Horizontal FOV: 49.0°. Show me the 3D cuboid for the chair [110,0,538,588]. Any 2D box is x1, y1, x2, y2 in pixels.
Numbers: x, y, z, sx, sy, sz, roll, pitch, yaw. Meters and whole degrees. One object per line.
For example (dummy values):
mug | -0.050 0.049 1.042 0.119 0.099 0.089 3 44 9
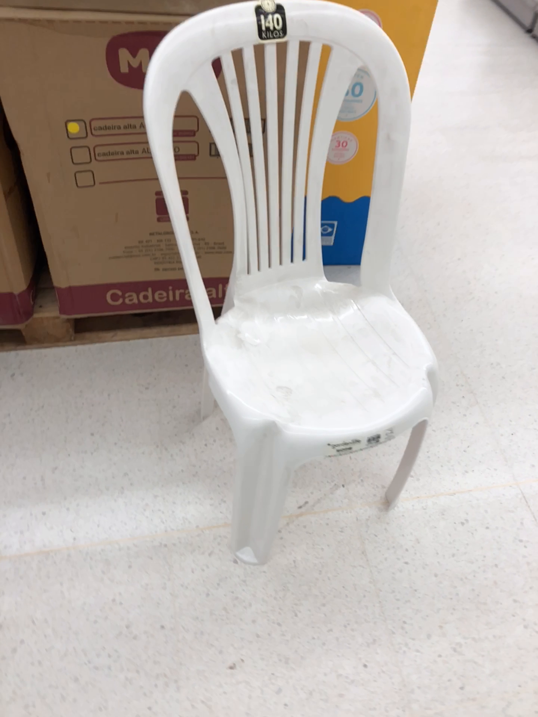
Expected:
chair | 0.073 -0.070 0.992 0.441 0.834 0.462 -19 54 -20
